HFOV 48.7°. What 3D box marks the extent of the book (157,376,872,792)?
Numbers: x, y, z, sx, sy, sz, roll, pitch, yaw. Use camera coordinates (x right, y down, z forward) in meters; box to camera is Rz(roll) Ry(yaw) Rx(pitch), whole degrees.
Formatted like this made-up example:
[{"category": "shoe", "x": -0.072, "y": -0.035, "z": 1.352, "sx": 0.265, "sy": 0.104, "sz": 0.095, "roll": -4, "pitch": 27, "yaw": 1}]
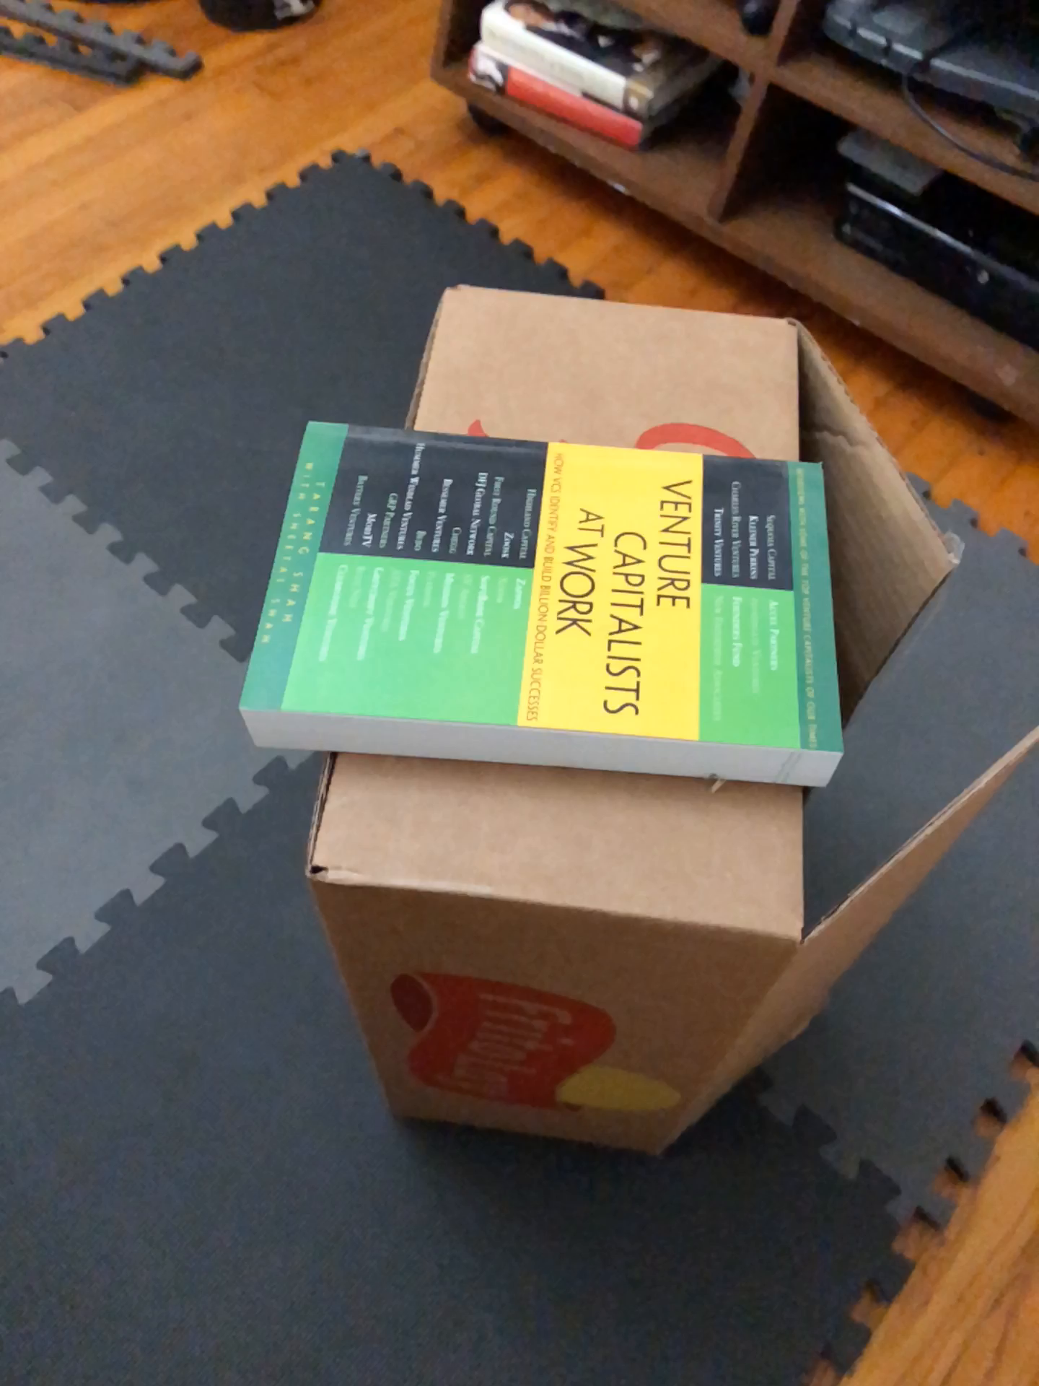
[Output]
[{"category": "book", "x": 0.004, "y": -0.051, "z": 0.475, "sx": 0.260, "sy": 0.040, "sz": 0.161, "roll": 5, "pitch": 57, "yaw": 3}]
